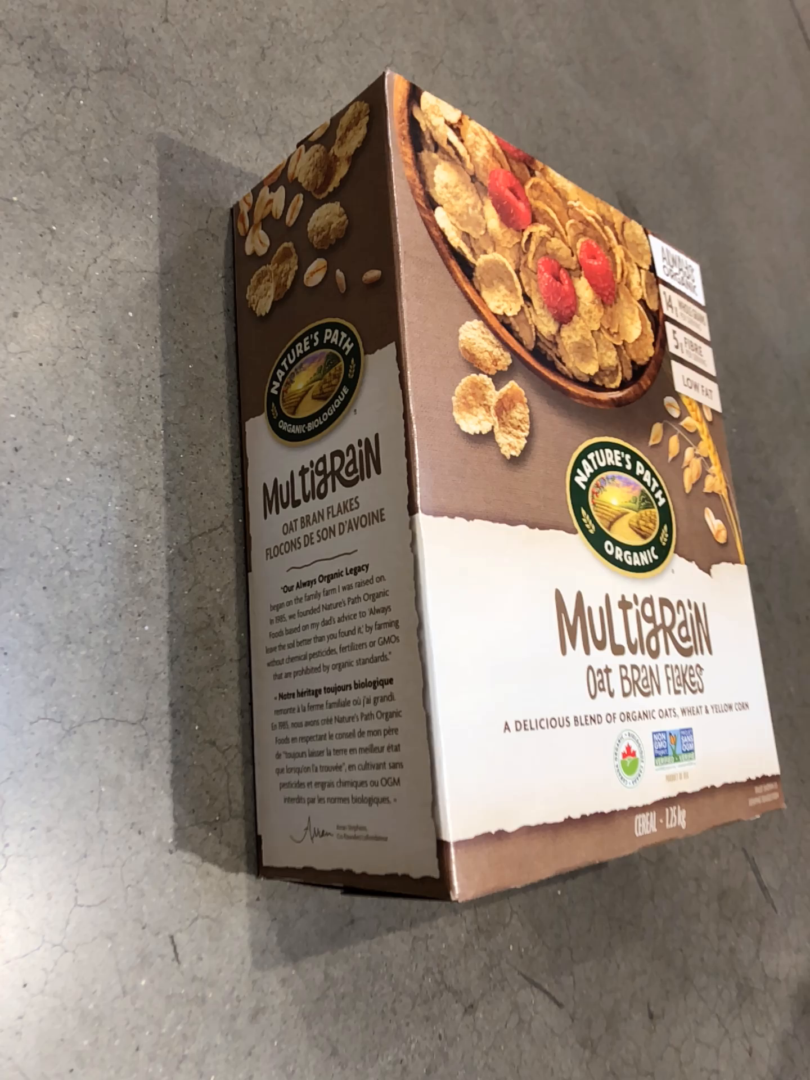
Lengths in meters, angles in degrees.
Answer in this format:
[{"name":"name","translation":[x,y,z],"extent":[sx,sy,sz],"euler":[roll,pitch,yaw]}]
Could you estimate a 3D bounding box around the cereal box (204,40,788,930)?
[{"name":"cereal box","translation":[0.045,-0.010,0.416],"extent":[0.241,0.109,0.310],"euler":[9,70,-44]}]
